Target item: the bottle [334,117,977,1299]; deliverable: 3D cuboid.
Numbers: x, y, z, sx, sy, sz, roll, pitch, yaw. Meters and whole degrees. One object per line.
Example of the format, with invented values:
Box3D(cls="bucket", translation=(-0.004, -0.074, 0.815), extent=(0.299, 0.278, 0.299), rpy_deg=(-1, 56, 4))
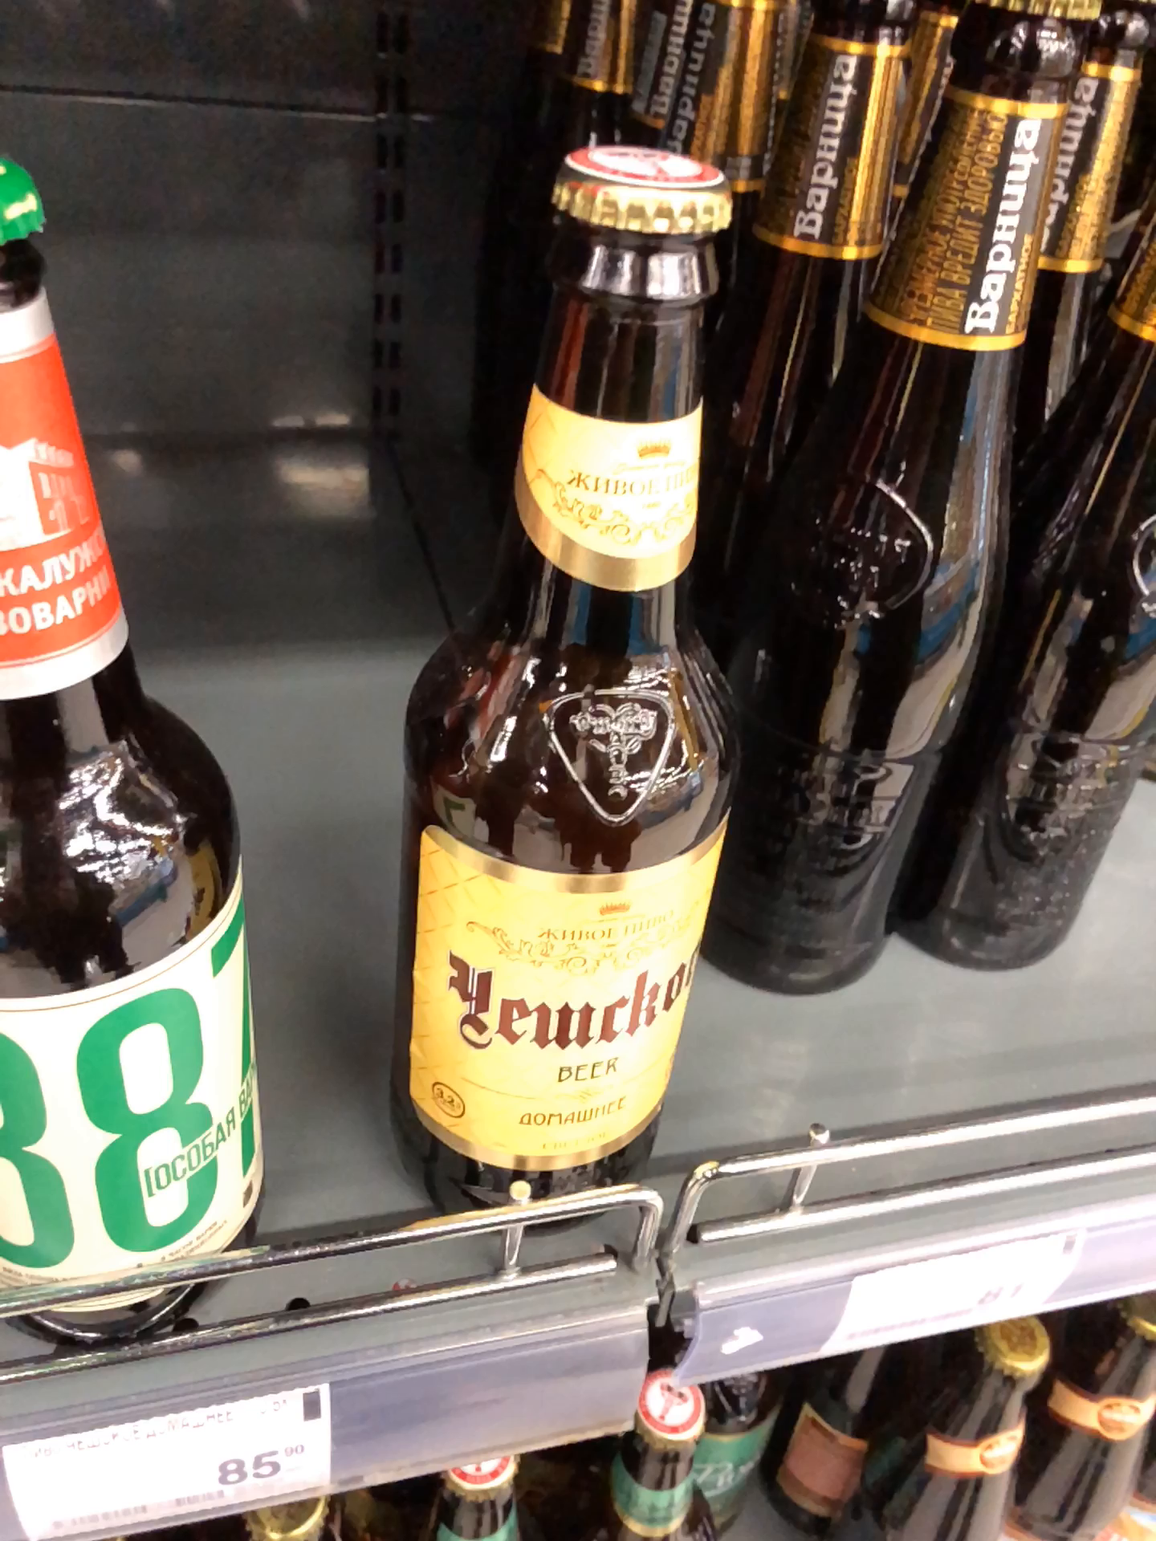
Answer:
Box3D(cls="bottle", translation=(-0.004, 0.002, 0.275), extent=(0.080, 0.239, 0.080), rpy_deg=(5, 37, -4))
